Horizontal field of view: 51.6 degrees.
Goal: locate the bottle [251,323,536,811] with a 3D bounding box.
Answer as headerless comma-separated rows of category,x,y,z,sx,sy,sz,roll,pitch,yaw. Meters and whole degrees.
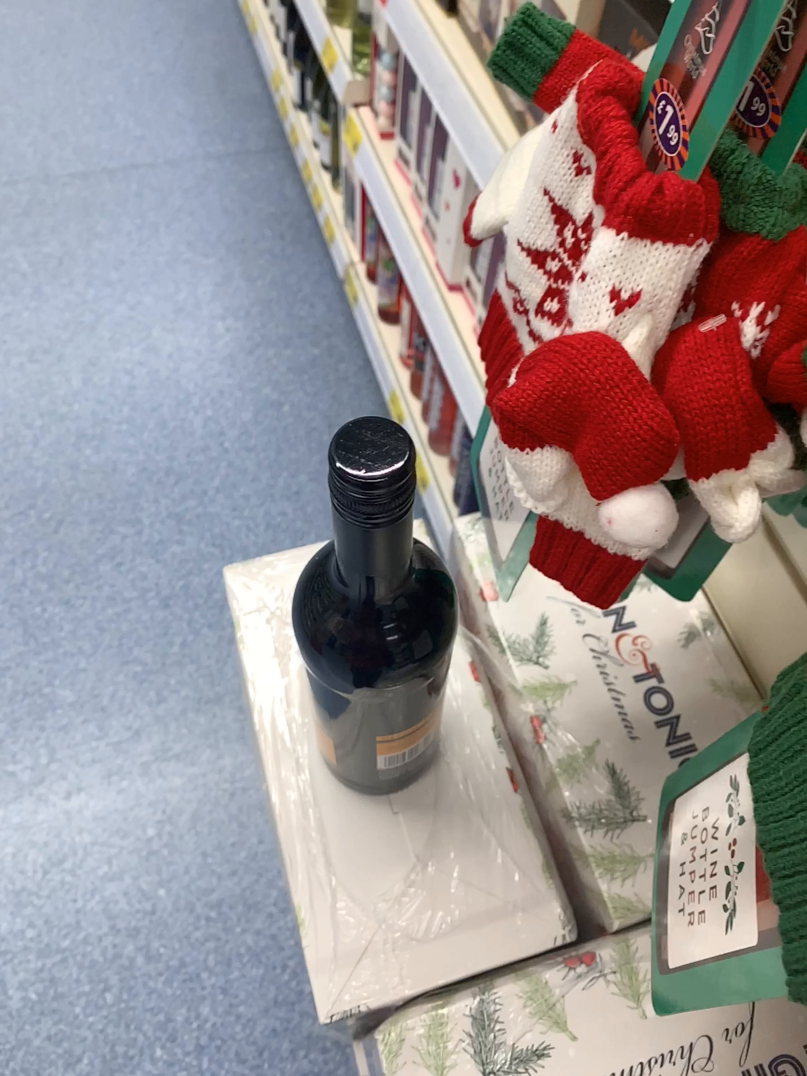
bottle,-0.009,0.042,0.391,0.074,0.289,0.078,2,58,-3
